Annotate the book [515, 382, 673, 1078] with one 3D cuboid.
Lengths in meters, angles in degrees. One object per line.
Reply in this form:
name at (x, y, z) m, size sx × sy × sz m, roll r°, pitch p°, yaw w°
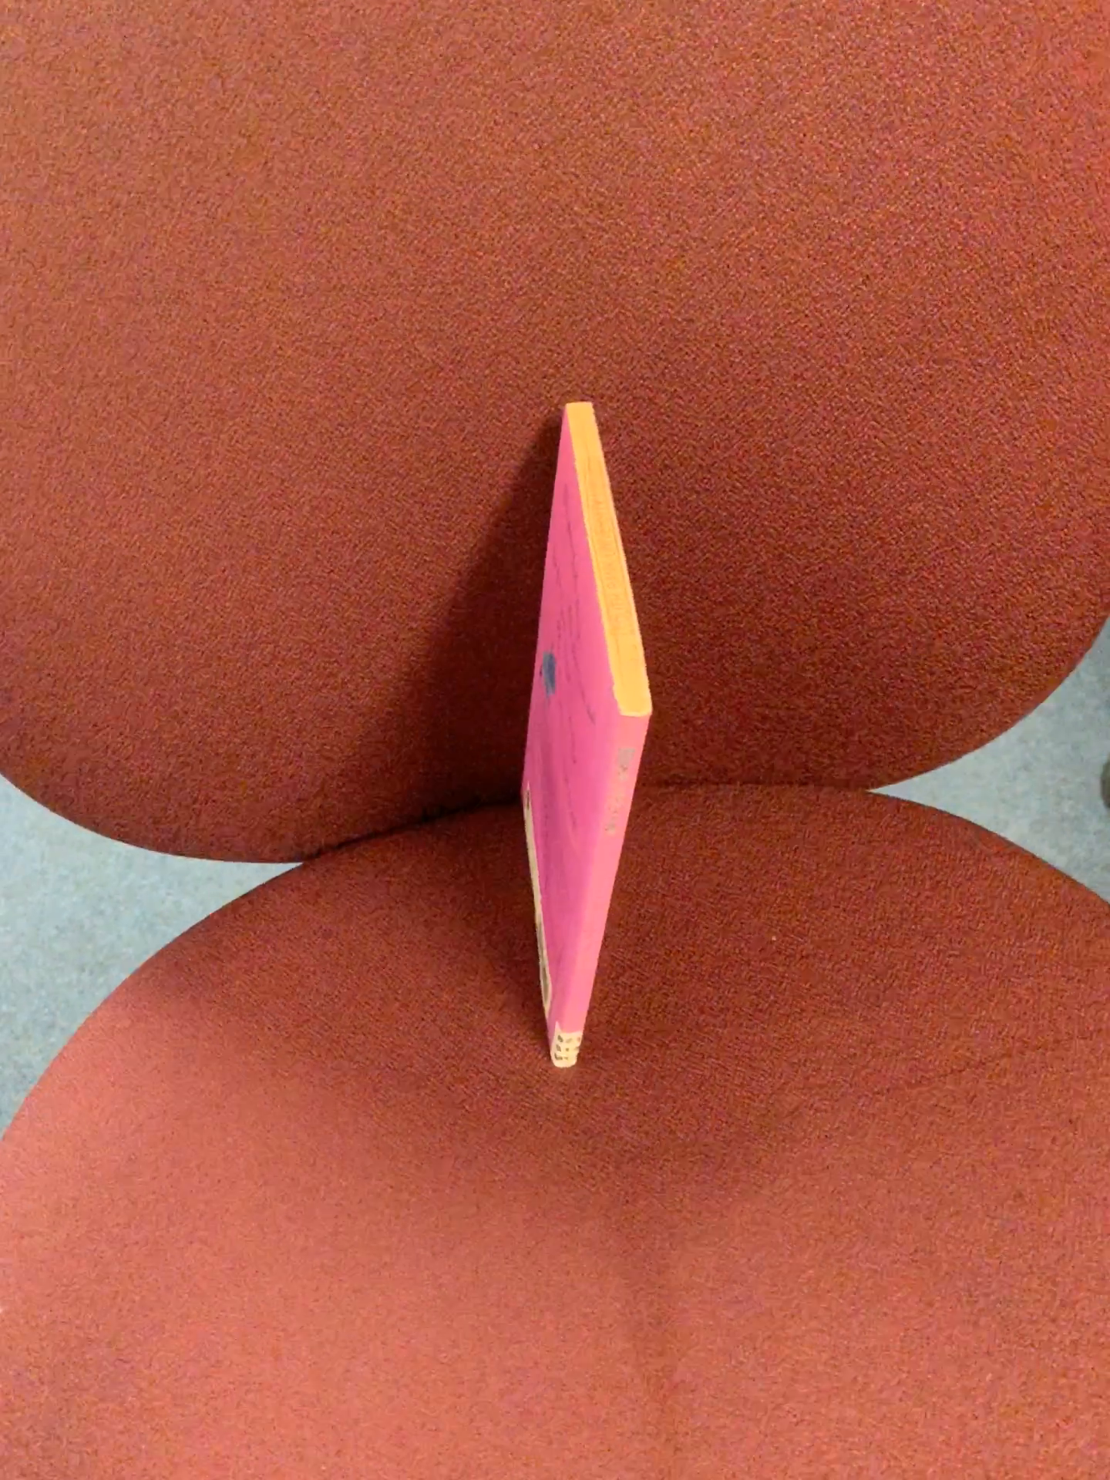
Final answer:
book at (0.005, 0.003, 0.381) m, size 0.017 × 0.189 × 0.142 m, roll -1°, pitch 48°, yaw -7°
